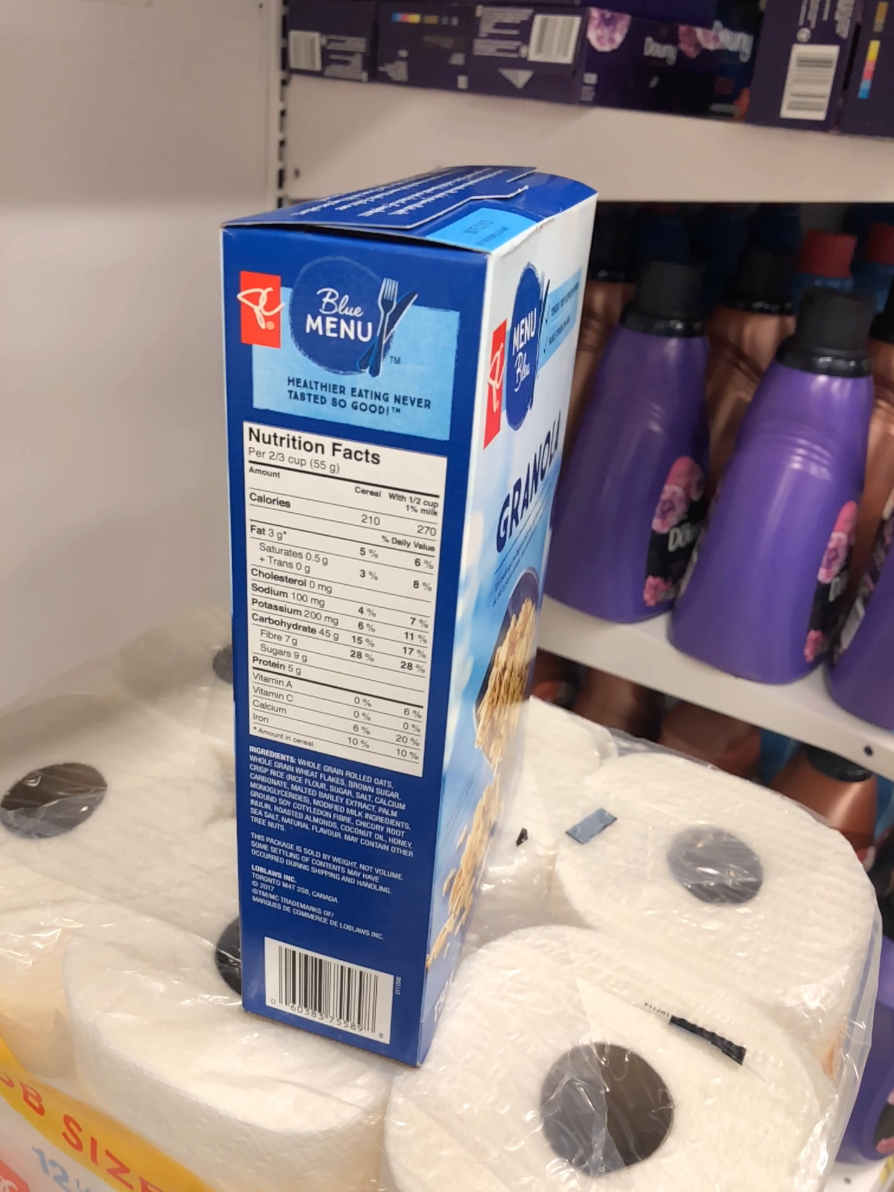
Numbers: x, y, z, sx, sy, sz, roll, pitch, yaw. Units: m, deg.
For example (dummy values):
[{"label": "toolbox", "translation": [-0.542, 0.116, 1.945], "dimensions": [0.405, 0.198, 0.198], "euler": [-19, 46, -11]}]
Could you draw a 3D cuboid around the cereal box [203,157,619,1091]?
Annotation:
[{"label": "cereal box", "translation": [-0.004, -0.001, 0.314], "dimensions": [0.060, 0.239, 0.161], "euler": [11, 28, 13]}]
